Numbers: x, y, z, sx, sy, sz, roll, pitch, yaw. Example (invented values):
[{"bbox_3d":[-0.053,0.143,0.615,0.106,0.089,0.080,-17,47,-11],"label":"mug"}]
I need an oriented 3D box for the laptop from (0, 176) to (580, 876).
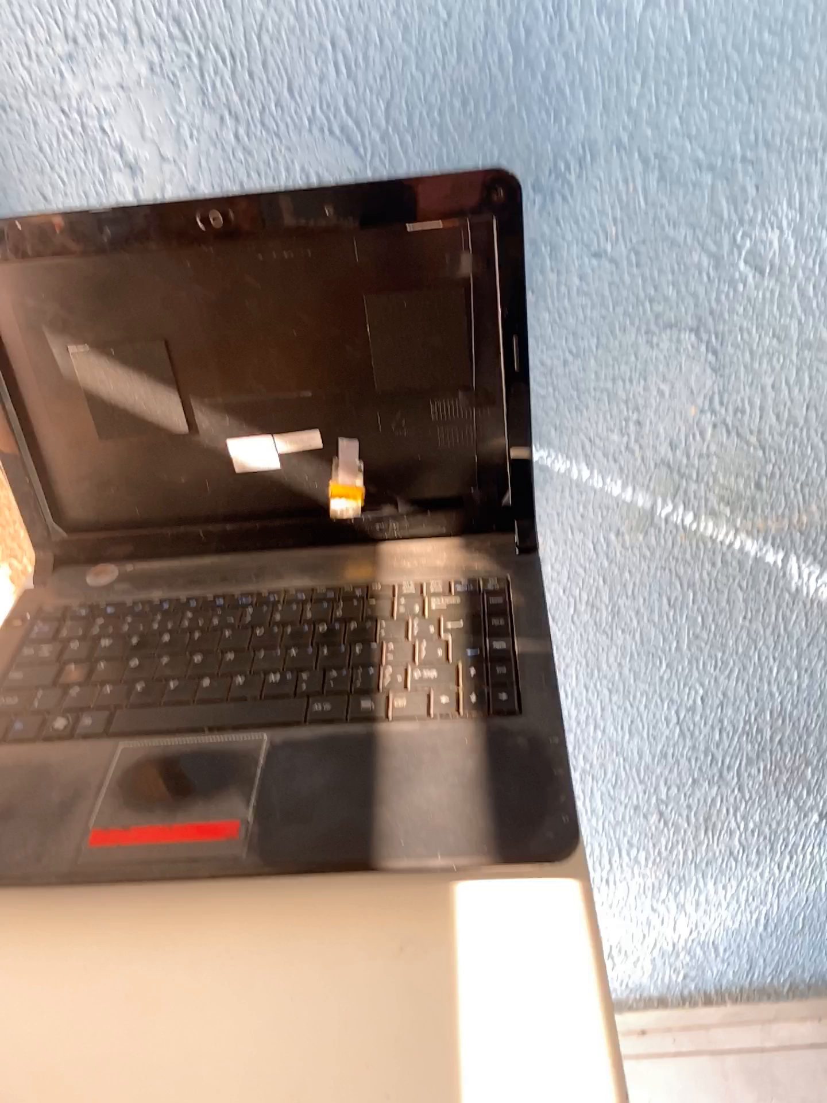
[{"bbox_3d":[-0.104,-0.025,0.440,0.334,0.216,0.278,-4,38,4],"label":"laptop"}]
